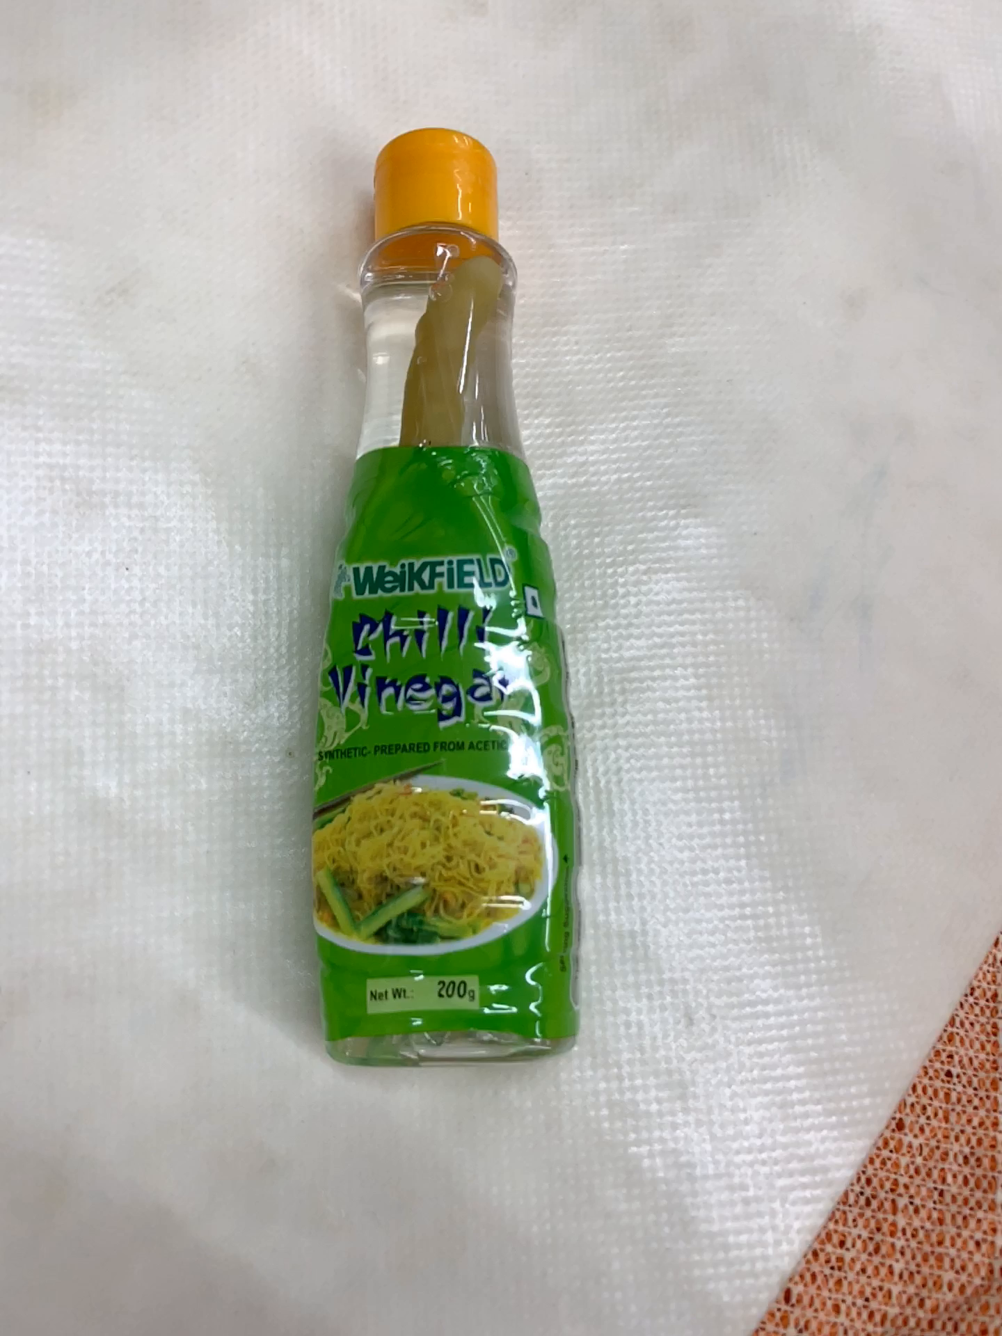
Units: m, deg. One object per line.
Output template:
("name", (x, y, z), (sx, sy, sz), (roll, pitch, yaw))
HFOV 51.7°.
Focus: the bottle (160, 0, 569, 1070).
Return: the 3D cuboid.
("bottle", (-0.024, -0.025, 0.192), (0.060, 0.040, 0.180), (-4, 84, 7))
